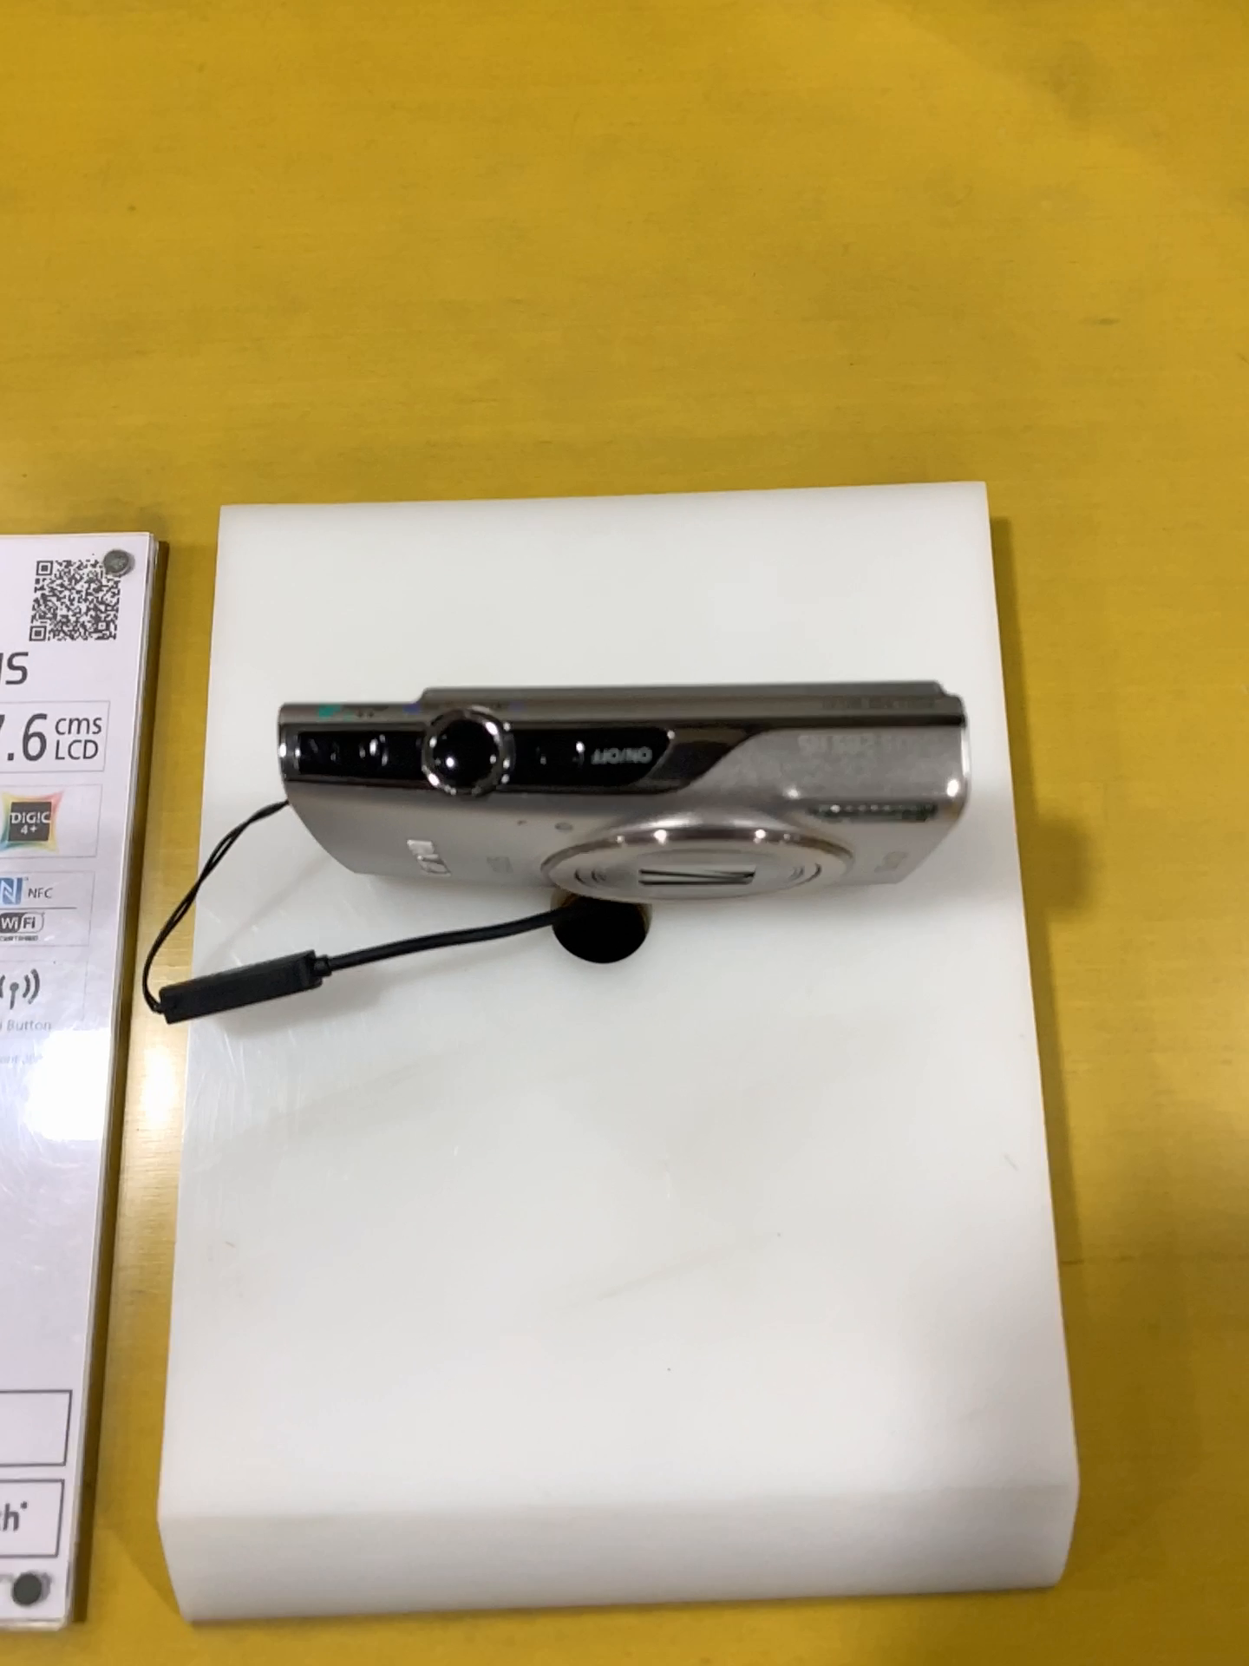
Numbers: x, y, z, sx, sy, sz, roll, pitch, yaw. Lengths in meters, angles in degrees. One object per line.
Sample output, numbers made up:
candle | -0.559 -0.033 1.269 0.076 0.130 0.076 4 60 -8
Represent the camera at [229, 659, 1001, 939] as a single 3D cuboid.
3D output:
camera | -0.001 -0.003 0.194 0.100 0.050 0.030 0 76 1
